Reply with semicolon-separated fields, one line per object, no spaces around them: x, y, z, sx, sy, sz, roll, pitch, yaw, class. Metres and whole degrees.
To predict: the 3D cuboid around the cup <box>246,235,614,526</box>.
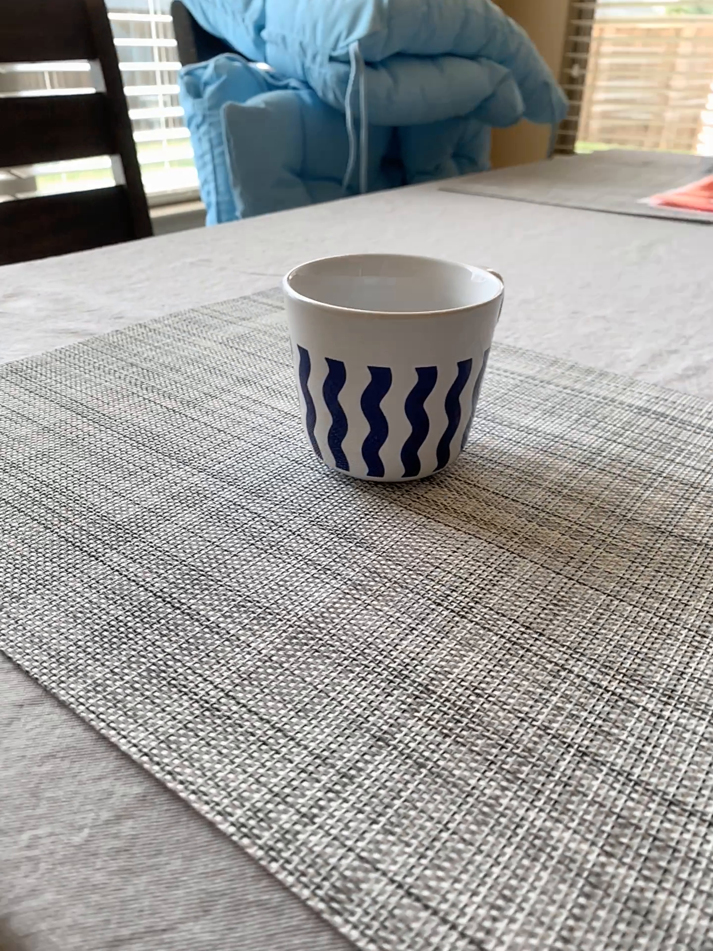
0.027;-0.047;0.303;0.112;0.072;0.087;-19;35;-31;cup
